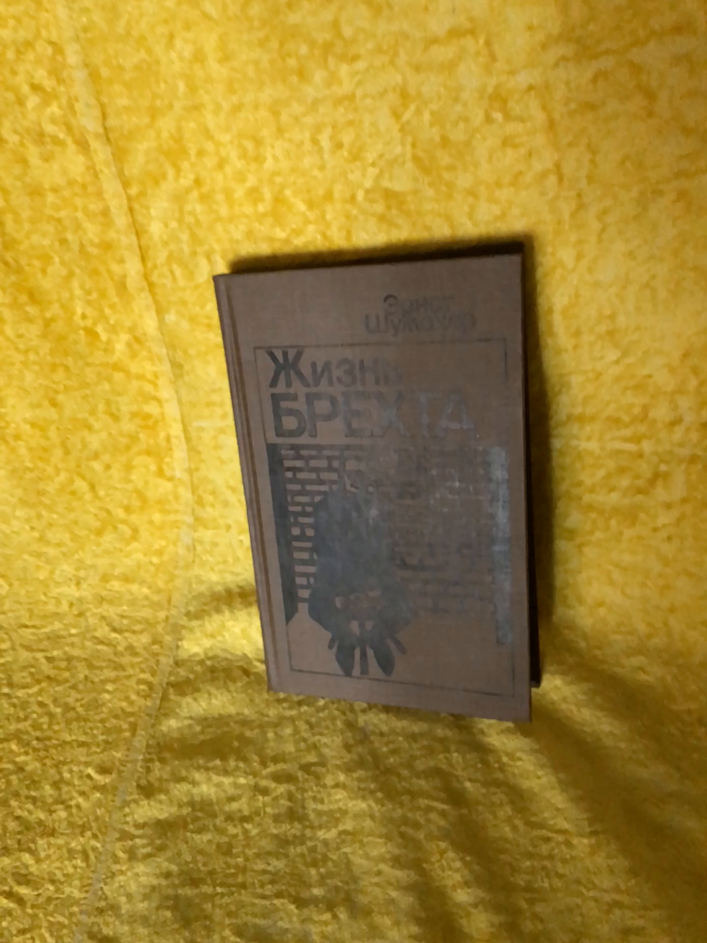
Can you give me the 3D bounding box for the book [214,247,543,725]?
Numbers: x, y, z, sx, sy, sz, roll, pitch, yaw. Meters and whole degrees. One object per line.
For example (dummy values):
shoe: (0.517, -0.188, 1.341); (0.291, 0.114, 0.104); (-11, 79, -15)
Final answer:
book: (0.016, 0.008, 0.350); (0.130, 0.200, 0.033); (2, 18, 19)
